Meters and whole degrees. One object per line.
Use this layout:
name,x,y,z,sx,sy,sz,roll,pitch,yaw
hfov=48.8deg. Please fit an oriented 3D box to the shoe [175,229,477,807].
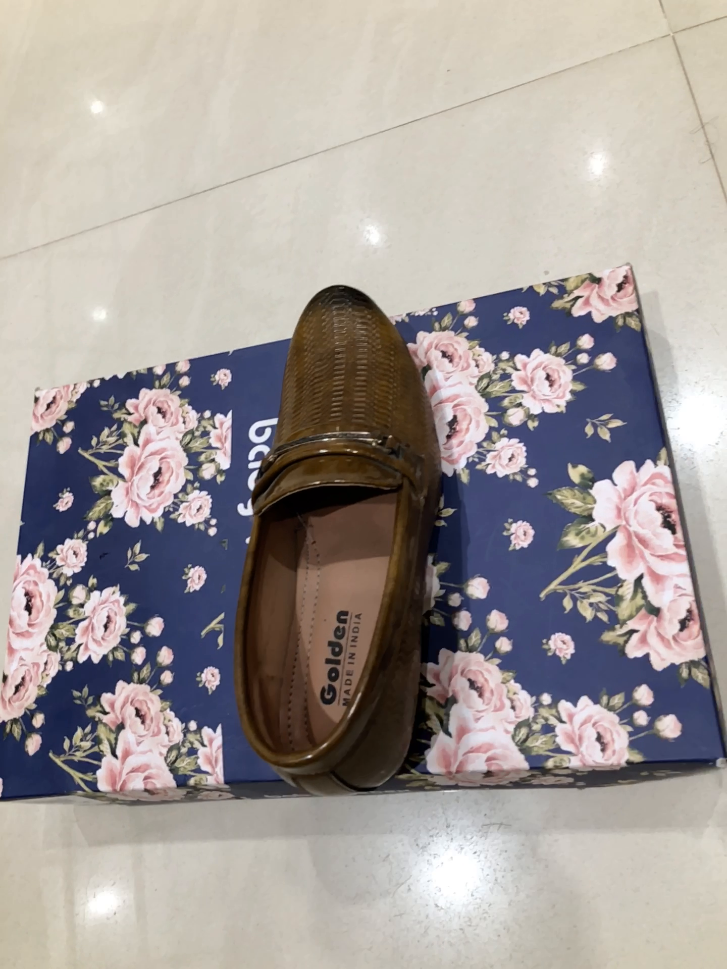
shoe,-0.016,0.016,0.333,0.090,0.080,0.210,-10,70,16
